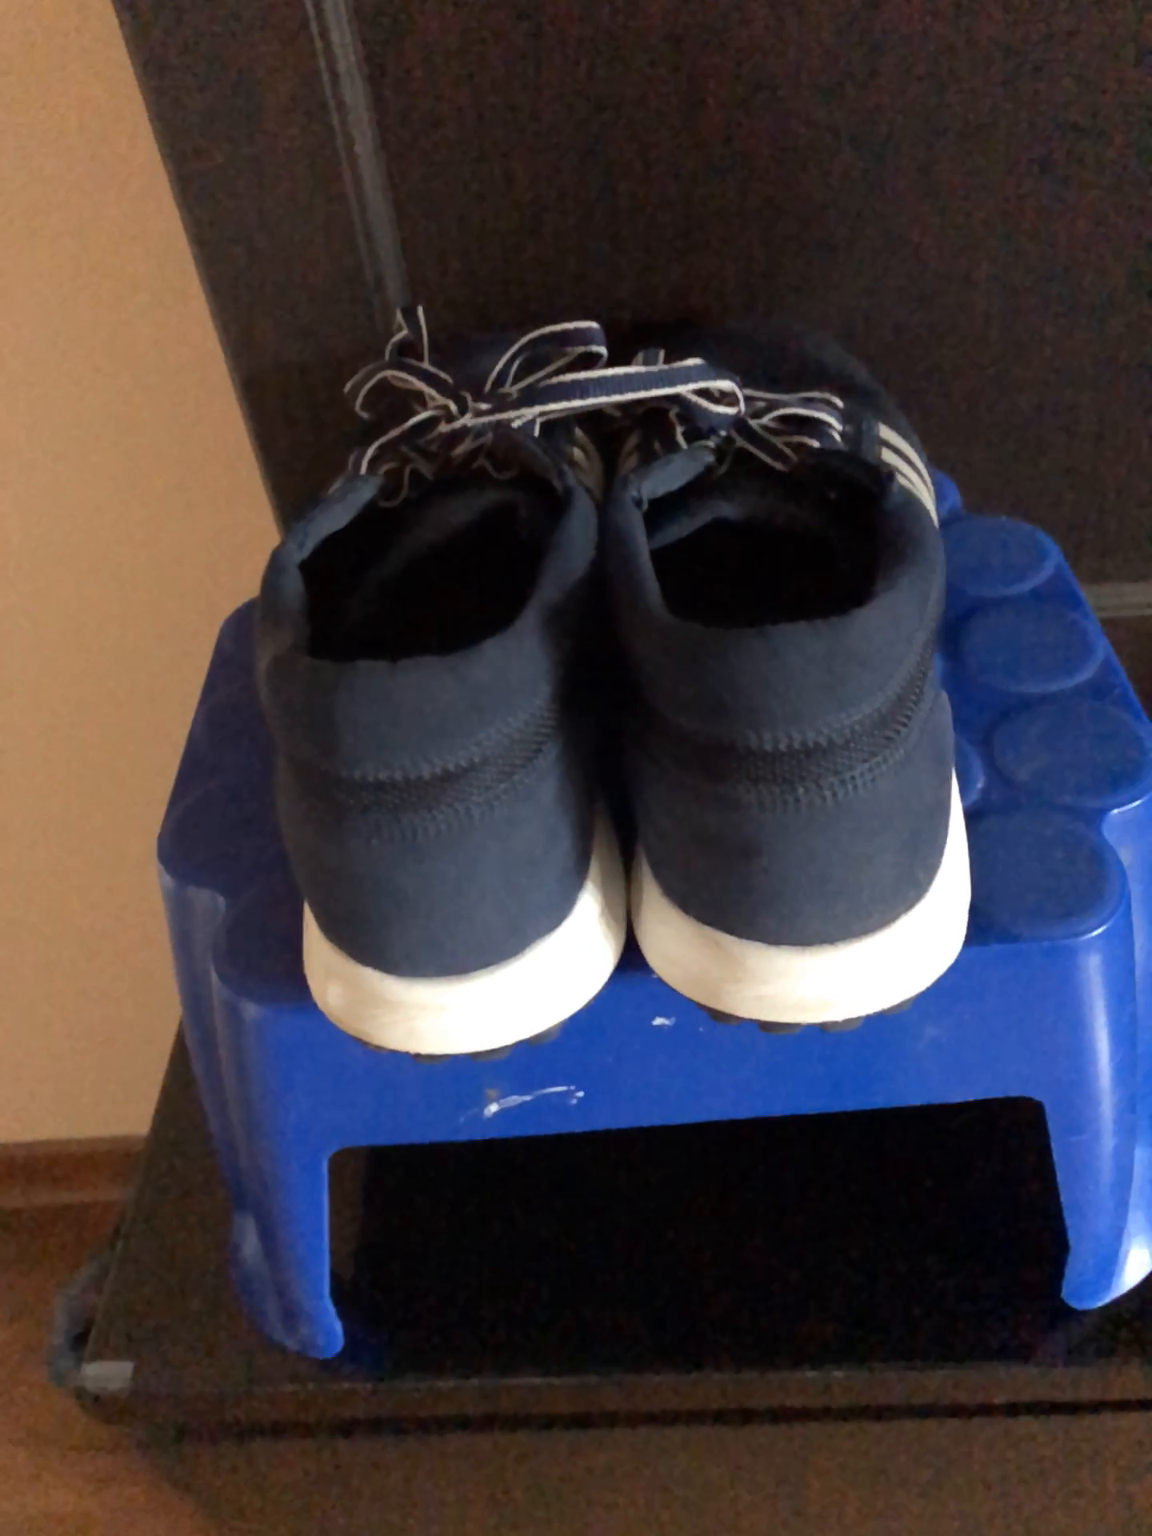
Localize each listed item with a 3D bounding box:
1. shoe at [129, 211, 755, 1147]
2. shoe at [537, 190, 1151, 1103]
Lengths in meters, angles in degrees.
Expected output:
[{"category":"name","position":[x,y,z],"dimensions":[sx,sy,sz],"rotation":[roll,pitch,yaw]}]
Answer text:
[{"category":"shoe","position":[-0.025,-0.046,0.357],"dimensions":[0.110,0.109,0.262],"rotation":[-6,43,2]},{"category":"shoe","position":[0.053,-0.053,0.360],"dimensions":[0.110,0.109,0.262],"rotation":[-4,43,4]}]
